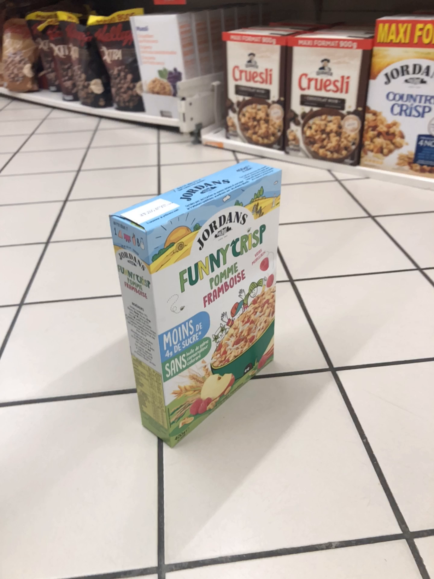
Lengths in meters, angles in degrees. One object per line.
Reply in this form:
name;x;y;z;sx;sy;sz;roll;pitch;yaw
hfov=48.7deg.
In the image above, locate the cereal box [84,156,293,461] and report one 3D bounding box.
cereal box;-0.011;0.013;0.463;0.070;0.229;0.181;23;40;35
